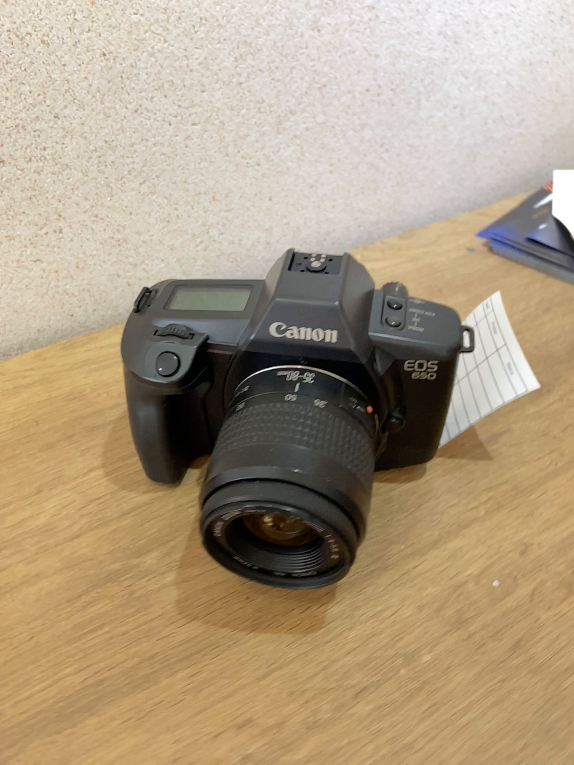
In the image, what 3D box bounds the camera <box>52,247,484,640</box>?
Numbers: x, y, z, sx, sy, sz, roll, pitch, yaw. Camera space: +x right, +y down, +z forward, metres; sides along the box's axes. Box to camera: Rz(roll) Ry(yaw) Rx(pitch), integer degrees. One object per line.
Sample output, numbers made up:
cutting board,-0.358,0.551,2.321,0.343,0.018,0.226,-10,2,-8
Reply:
camera,0.003,0.018,0.275,0.140,0.099,0.141,3,41,8
